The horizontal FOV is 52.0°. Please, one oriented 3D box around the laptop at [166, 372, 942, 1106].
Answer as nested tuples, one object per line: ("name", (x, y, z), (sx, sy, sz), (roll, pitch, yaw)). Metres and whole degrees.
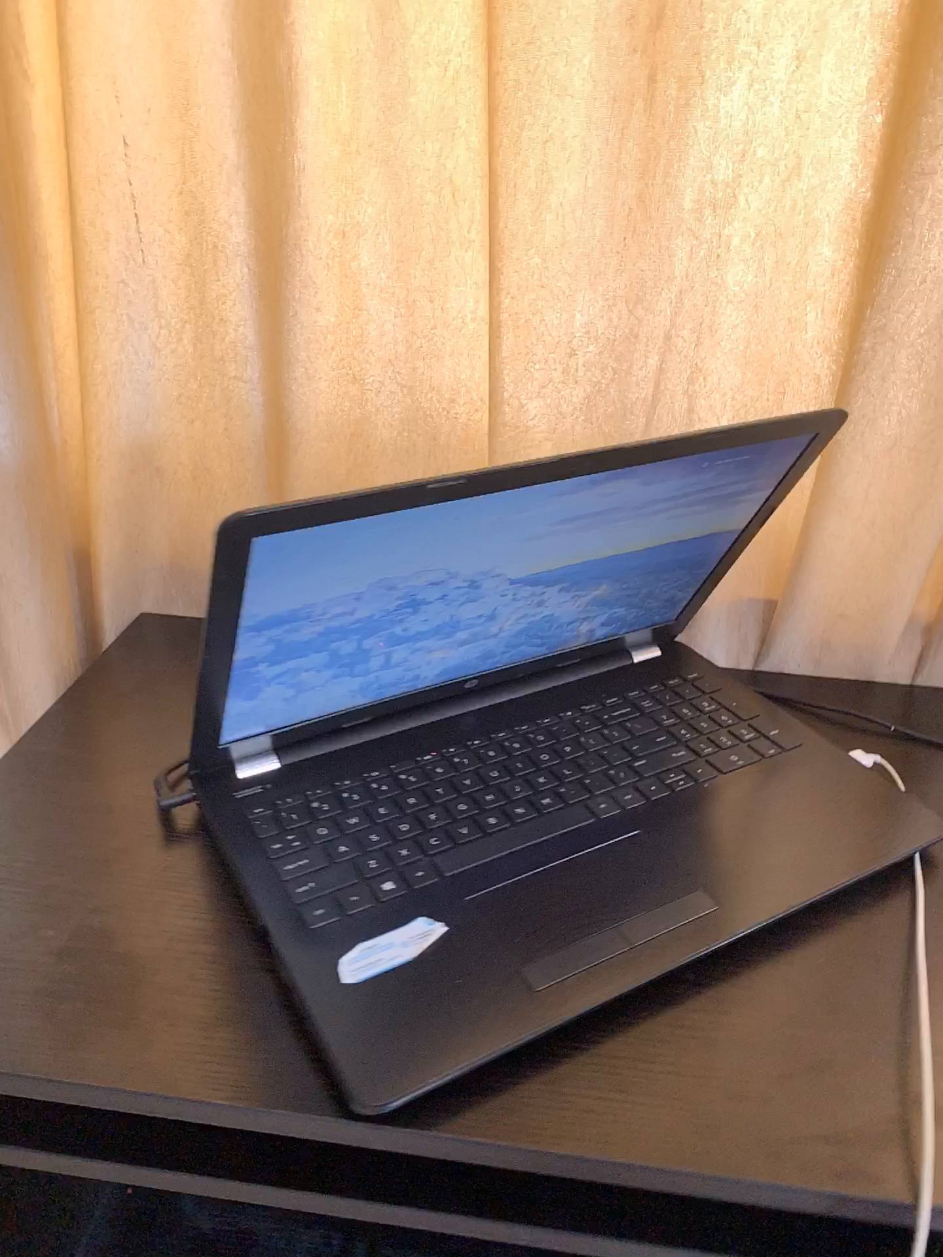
("laptop", (0.059, 0.014, 0.522), (0.363, 0.201, 0.239), (-14, 33, -25))
